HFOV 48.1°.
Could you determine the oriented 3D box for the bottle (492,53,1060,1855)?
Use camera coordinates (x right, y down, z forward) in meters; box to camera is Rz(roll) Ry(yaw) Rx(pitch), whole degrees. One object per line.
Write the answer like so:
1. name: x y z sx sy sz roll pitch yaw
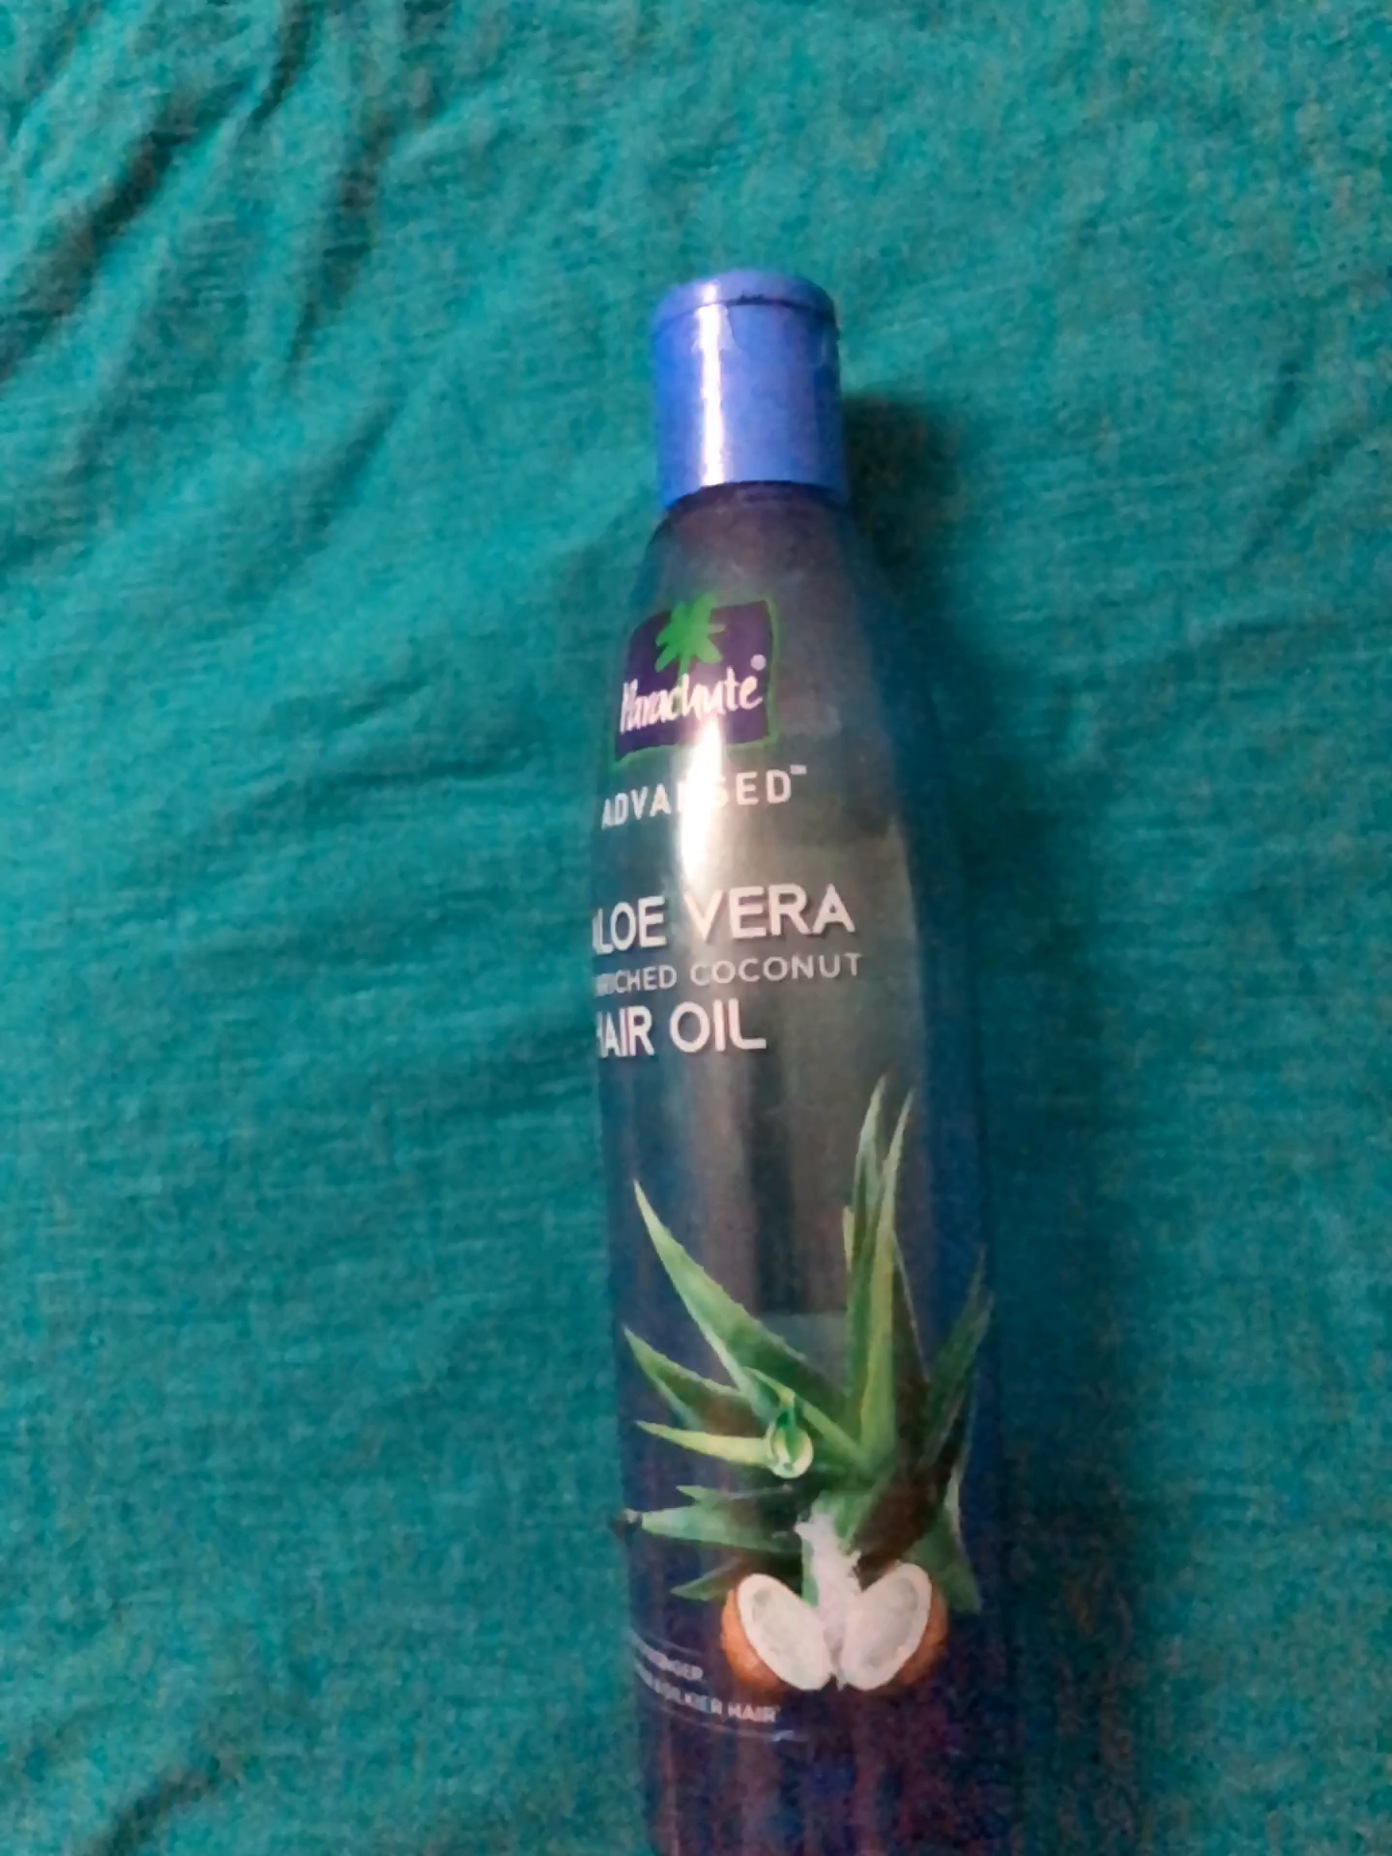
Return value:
1. bottle: 0.009 0.010 0.193 0.050 0.040 0.210 -5 83 28
